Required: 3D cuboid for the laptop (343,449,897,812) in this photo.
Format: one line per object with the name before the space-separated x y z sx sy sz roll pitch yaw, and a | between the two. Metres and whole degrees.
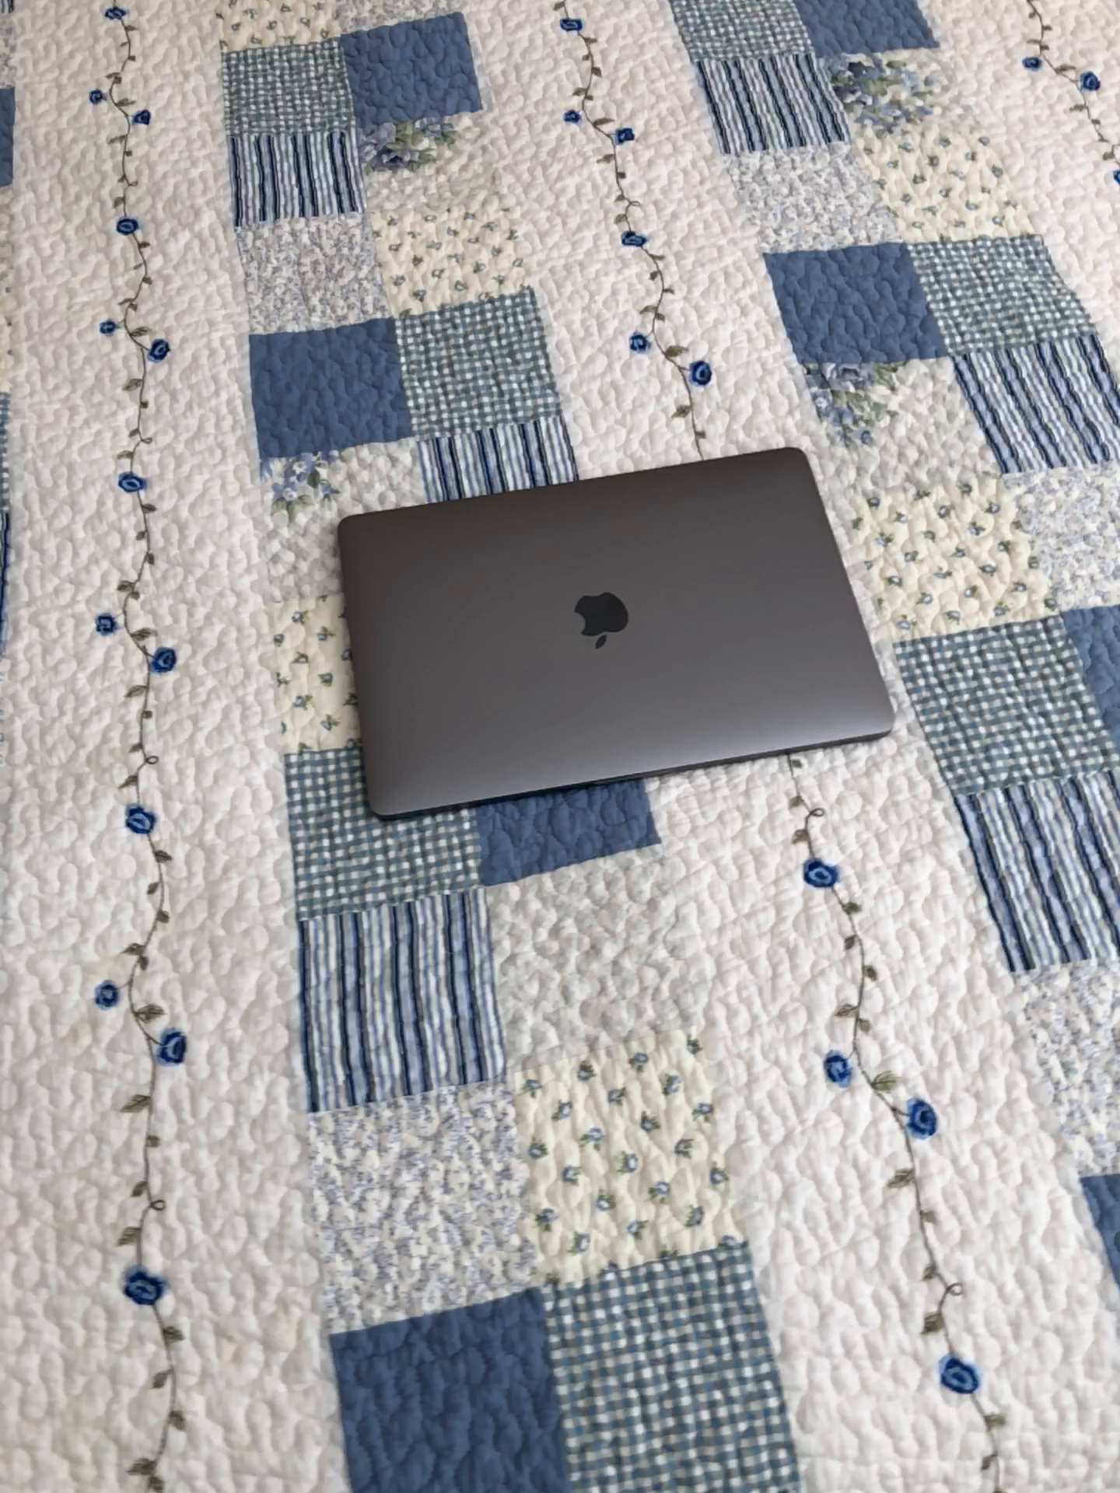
laptop | 0.026 -0.076 0.725 0.290 0.005 0.202 -9 62 -4
